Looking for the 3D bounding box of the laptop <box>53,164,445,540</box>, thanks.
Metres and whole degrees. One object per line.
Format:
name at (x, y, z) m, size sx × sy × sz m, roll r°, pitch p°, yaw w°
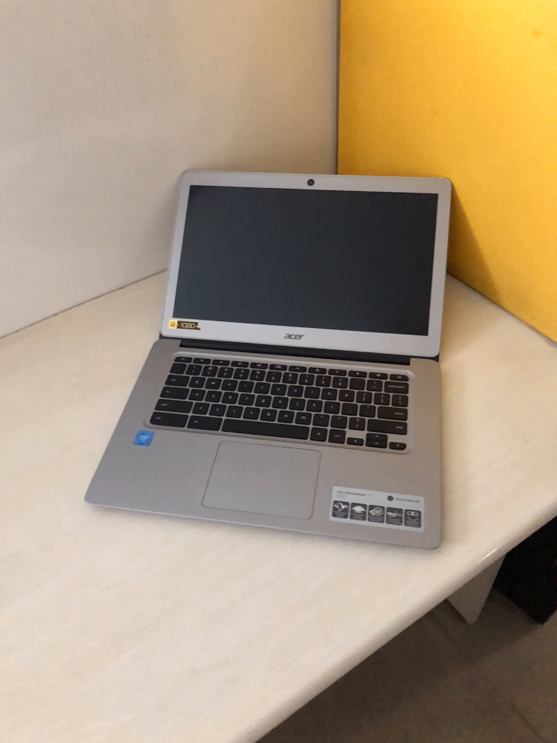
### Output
laptop at (0.007, -0.057, 0.664) m, size 0.319 × 0.123 × 0.411 m, roll 5°, pitch 48°, yaw 10°
